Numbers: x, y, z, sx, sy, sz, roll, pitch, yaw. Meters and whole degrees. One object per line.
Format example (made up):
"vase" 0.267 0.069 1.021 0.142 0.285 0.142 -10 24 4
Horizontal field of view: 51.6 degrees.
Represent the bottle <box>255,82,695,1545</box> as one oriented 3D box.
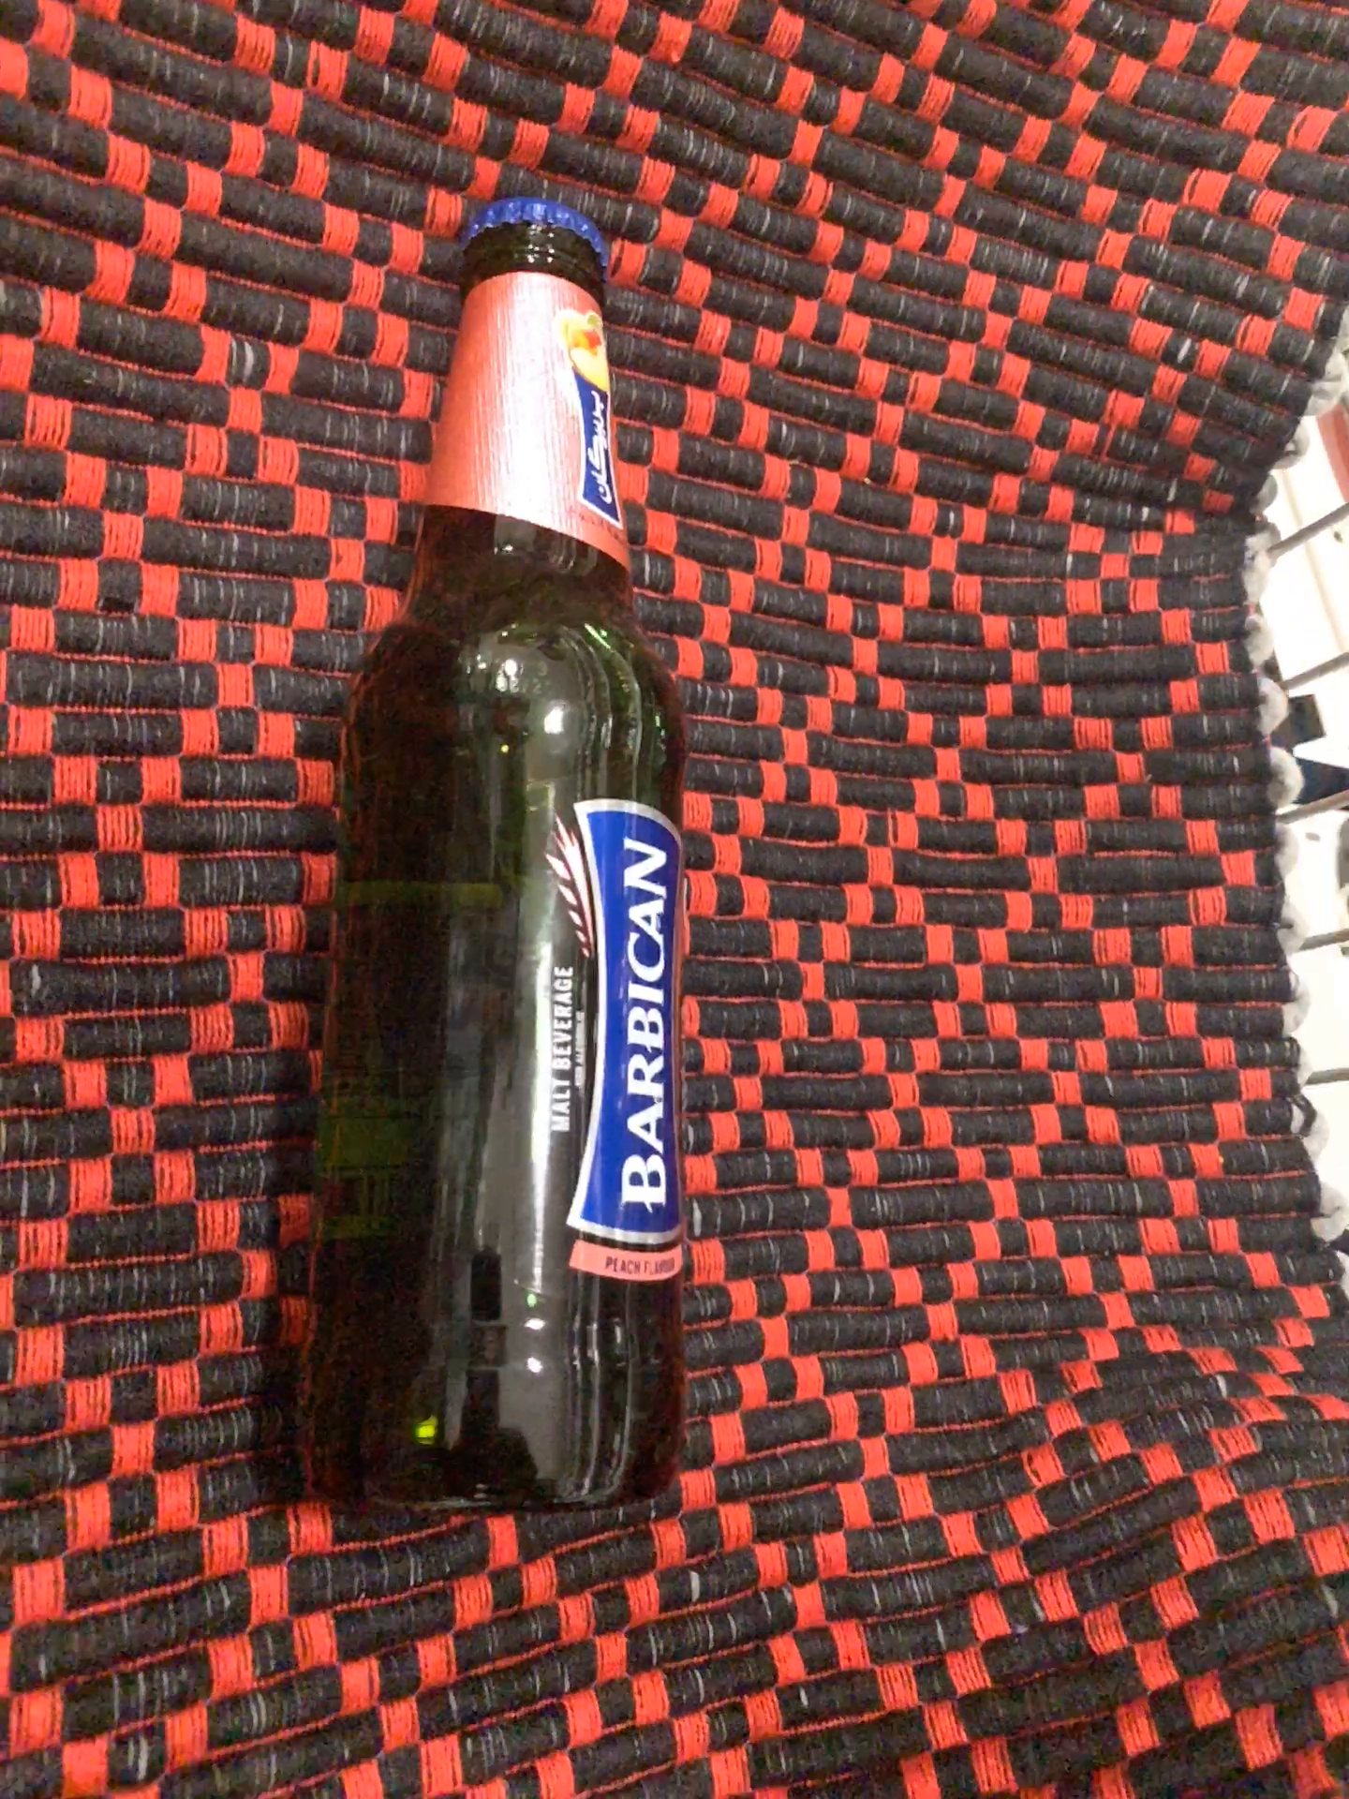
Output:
"bottle" -0.026 -0.020 0.226 0.050 0.050 0.220 -2 75 7
